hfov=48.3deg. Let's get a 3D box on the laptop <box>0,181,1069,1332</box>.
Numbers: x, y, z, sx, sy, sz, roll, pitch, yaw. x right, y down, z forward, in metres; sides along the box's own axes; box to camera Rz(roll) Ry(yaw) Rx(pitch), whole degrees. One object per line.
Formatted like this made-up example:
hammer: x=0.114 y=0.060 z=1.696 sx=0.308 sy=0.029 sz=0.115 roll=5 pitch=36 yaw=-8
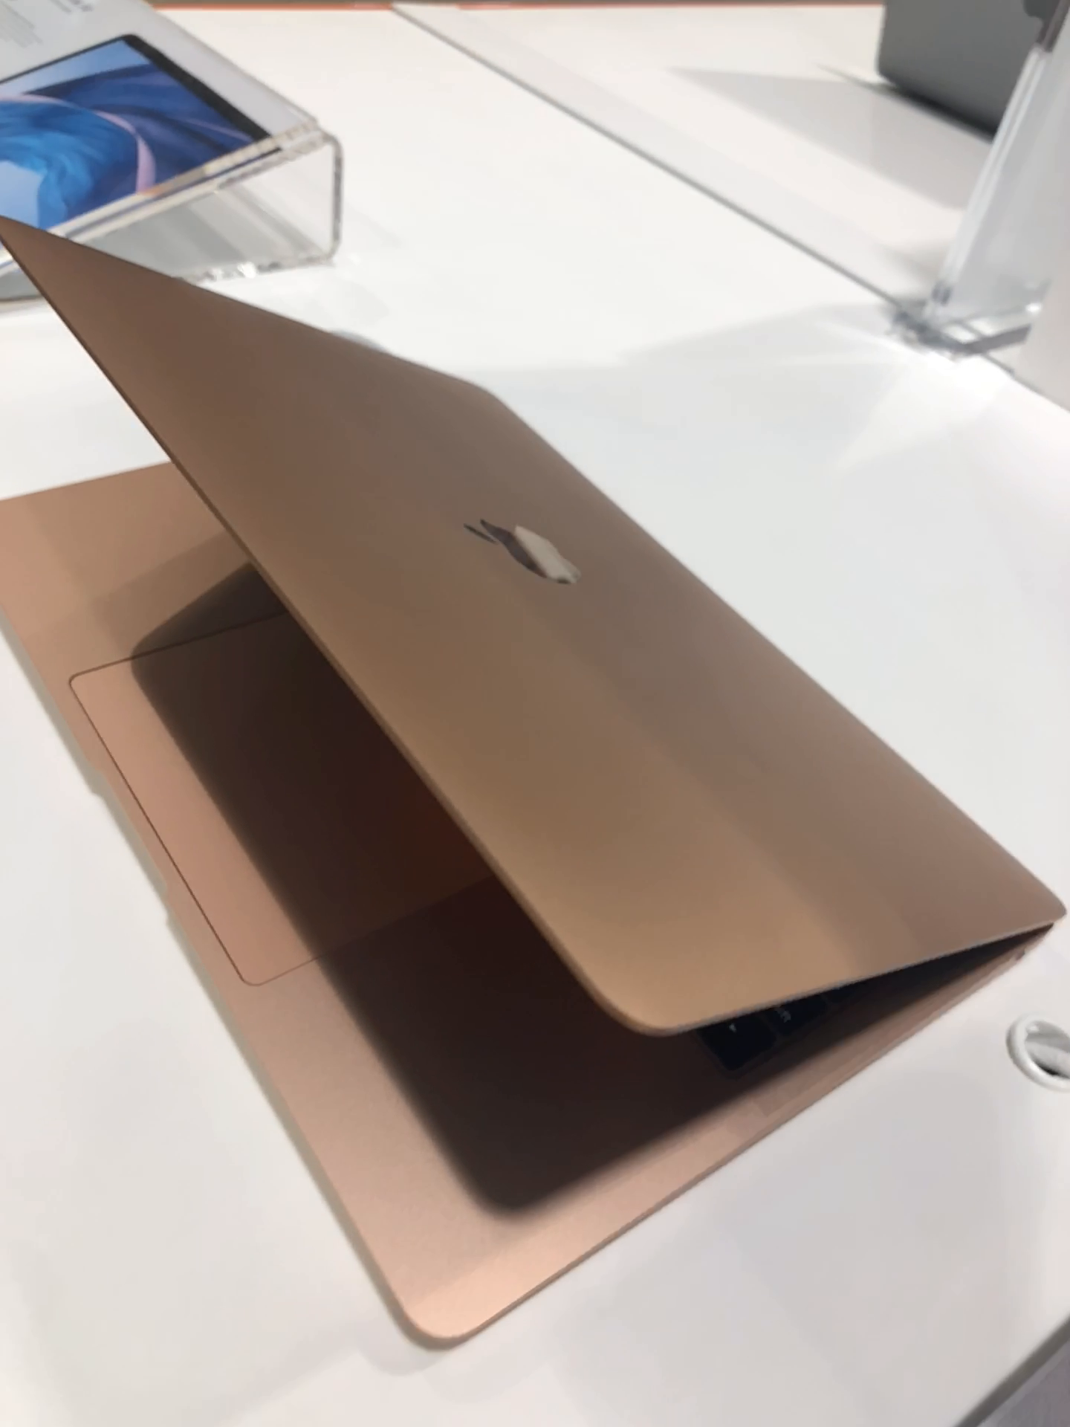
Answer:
laptop: x=-0.014 y=-0.036 z=0.331 sx=0.209 sy=0.091 sz=0.286 roll=-21 pitch=52 yaw=-30
